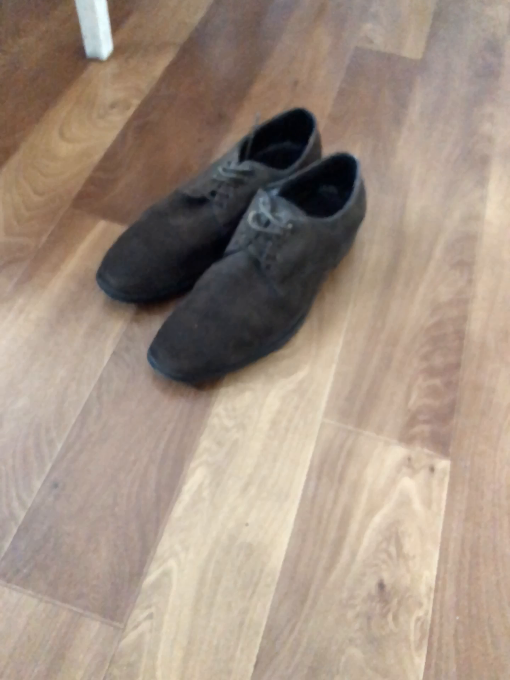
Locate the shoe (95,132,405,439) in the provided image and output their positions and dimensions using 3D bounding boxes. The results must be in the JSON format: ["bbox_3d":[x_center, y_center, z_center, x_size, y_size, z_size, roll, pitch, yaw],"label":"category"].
[{"bbox_3d":[0.007,-0.068,0.571,0.120,0.100,0.311,35,61,18],"label":"shoe"}]

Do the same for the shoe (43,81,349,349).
[{"bbox_3d":[-0.049,-0.146,0.615,0.120,0.100,0.311,38,62,20],"label":"shoe"}]
